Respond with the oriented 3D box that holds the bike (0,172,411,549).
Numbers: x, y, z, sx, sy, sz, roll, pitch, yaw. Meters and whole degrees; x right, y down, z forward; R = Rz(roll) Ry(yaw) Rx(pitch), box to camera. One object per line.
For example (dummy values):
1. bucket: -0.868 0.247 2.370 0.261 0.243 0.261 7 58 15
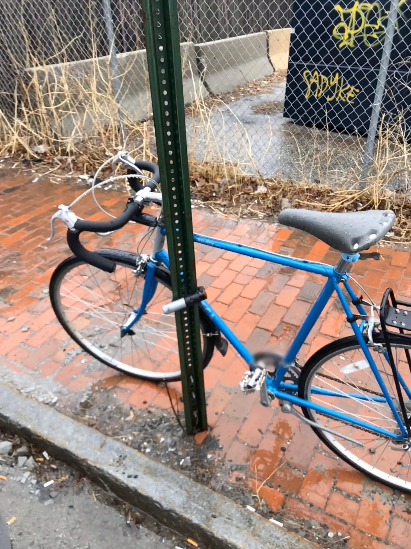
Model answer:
1. bike: 0.123 0.290 1.590 1.865 0.919 0.474 14 34 23
